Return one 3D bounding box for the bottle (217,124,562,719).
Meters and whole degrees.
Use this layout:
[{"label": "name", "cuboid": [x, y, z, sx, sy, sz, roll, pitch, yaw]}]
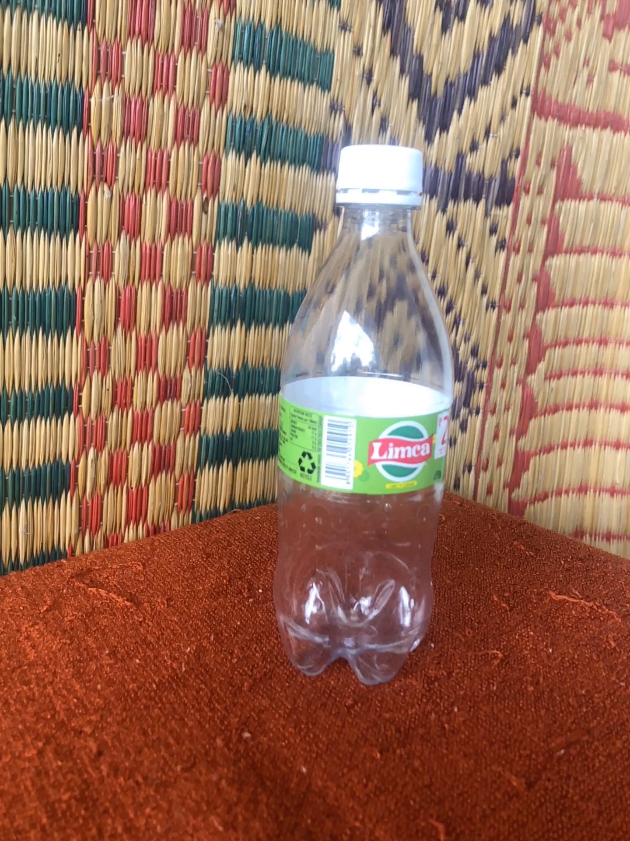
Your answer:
[{"label": "bottle", "cuboid": [0.016, -0.002, 0.209, 0.060, 0.149, 0.060, 5, 15, -1]}]
